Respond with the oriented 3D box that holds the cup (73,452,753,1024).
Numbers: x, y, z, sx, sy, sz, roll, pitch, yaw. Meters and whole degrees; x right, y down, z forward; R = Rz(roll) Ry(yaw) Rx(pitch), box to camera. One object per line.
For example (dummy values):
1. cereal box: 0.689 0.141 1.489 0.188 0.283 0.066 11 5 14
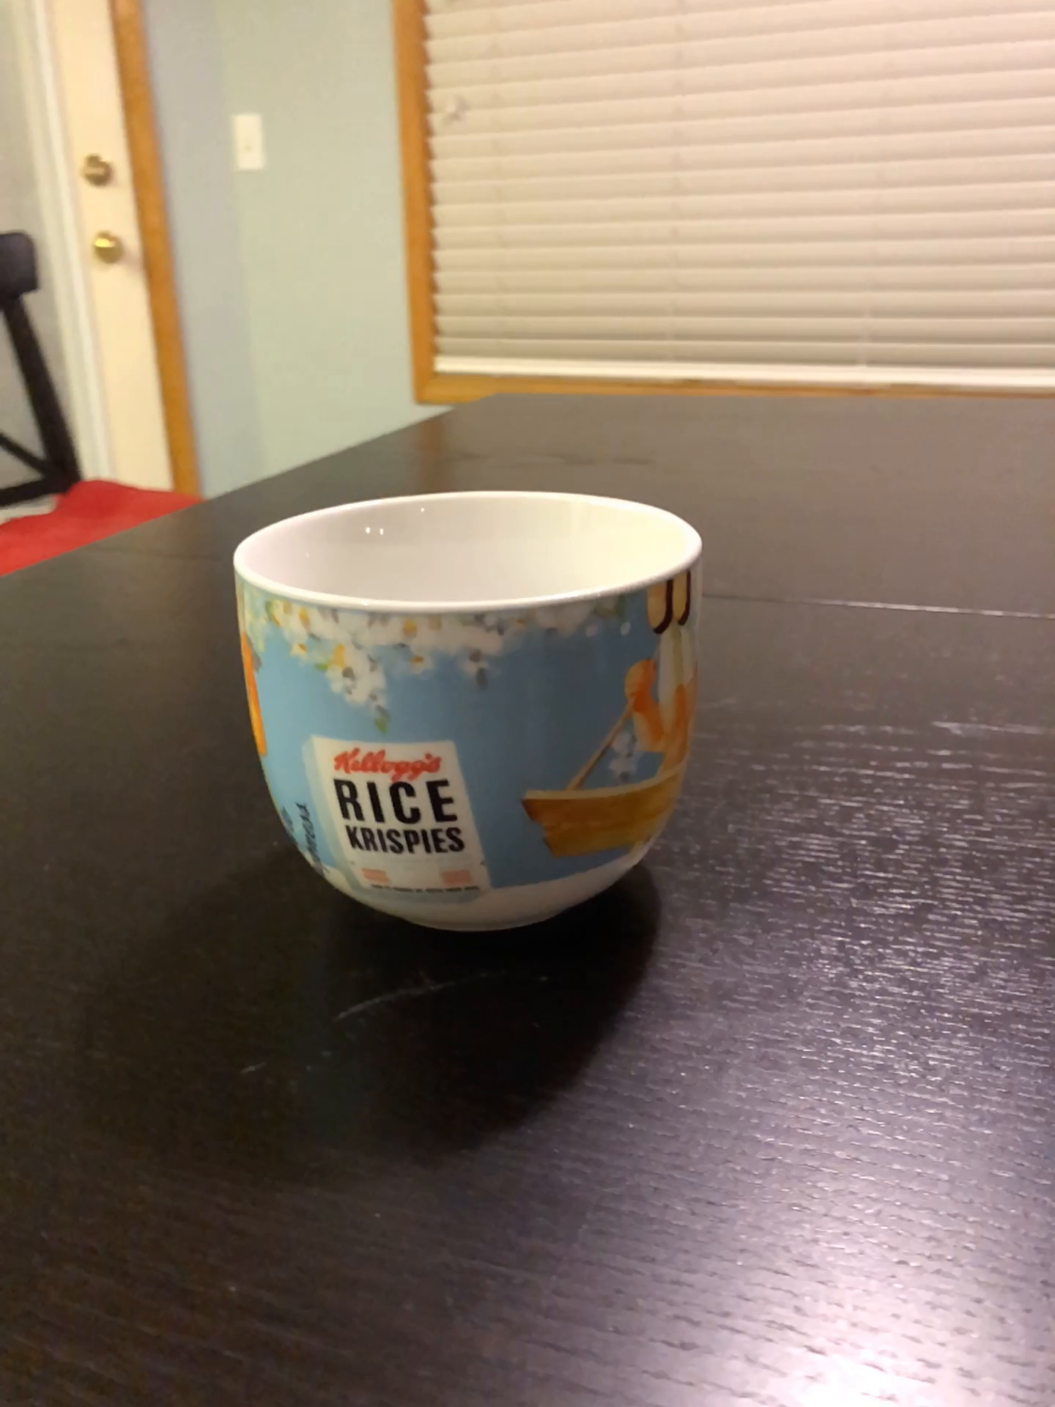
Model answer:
1. cup: -0.015 -0.008 0.317 0.120 0.090 0.151 6 23 19
